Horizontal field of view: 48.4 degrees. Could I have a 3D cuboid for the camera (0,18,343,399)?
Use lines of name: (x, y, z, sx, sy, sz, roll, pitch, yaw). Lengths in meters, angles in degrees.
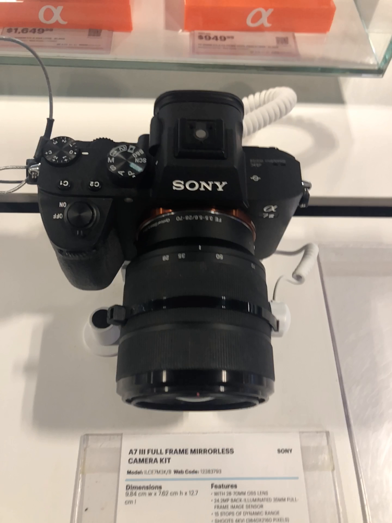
camera: (-0.024, -0.018, 0.192, 0.120, 0.100, 0.130, 0, 60, -3)
